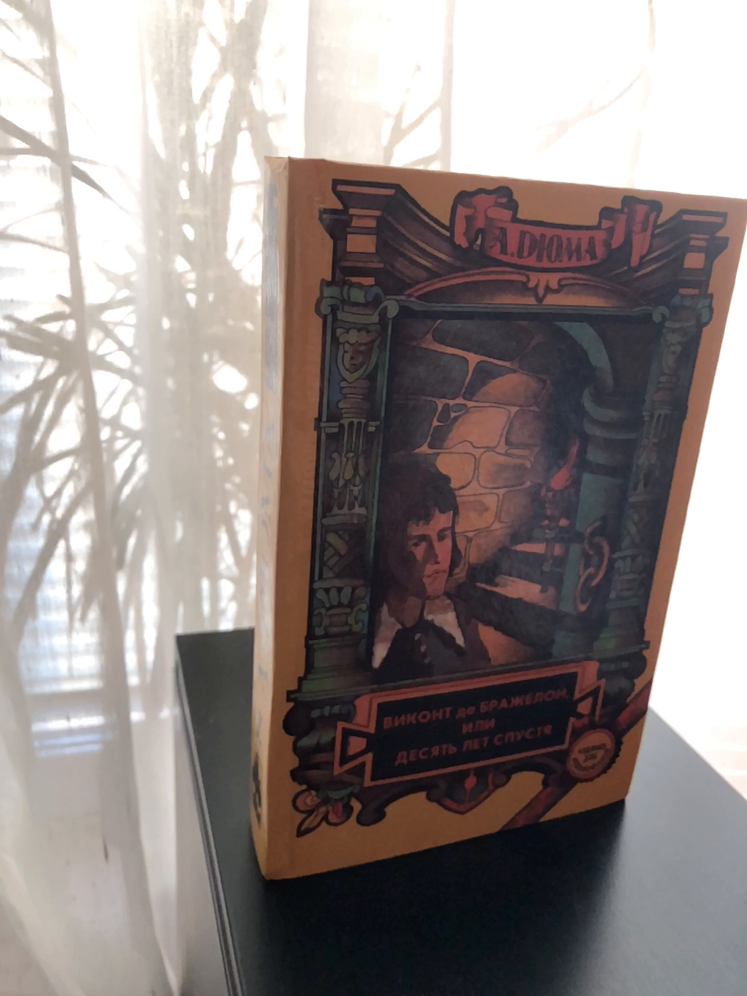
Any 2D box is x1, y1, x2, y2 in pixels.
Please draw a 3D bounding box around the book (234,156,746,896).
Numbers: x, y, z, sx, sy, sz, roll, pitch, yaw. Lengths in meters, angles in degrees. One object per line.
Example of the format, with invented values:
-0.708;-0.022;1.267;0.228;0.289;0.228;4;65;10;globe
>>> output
0.032;0.010;0.261;0.143;0.209;0.045;-5;22;-20;book
